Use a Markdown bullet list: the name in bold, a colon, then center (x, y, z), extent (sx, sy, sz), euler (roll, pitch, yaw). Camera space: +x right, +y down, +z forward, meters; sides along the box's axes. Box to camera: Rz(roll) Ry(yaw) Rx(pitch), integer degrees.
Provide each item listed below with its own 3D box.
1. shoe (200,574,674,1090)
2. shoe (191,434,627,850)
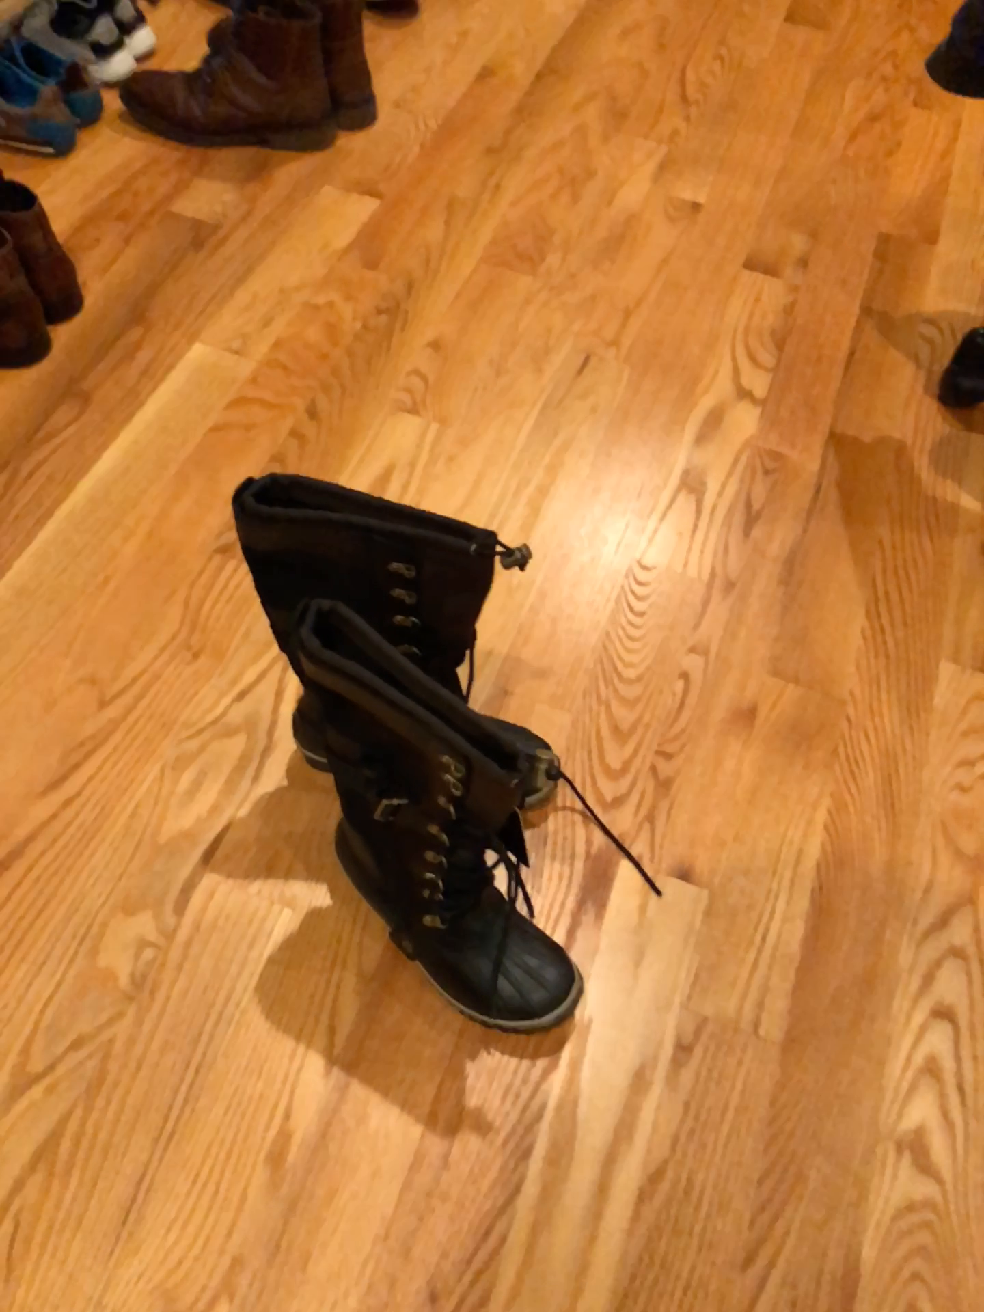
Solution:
- **shoe**: center (-0.046, 0.136, 0.734), extent (0.260, 0.309, 0.100), euler (32, 58, 16)
- **shoe**: center (-0.060, 0.009, 0.811), extent (0.260, 0.329, 0.100), euler (9, 55, 1)
